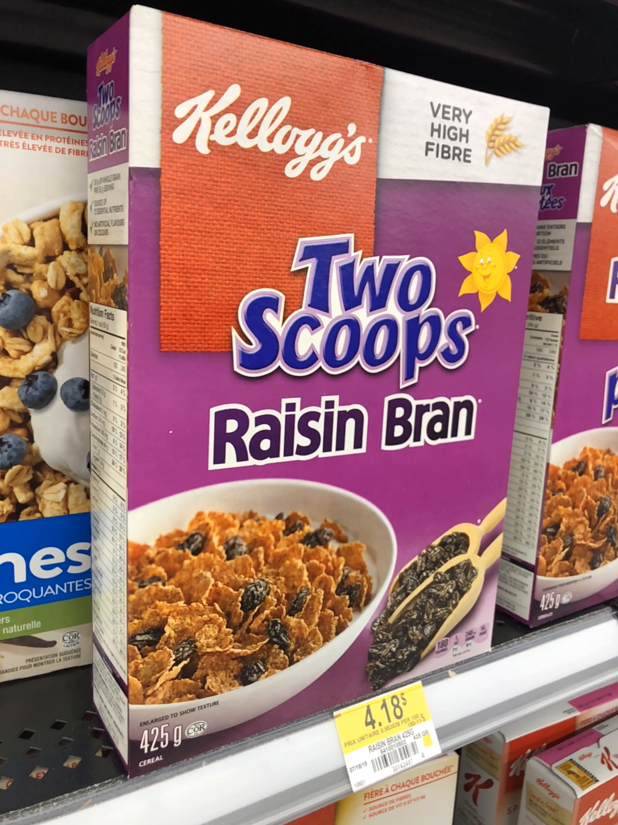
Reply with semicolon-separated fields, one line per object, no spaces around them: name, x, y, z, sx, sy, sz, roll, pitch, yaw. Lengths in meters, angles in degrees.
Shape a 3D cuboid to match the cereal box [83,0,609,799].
cereal box;0.015;-0.004;0.286;0.200;0.269;0.050;-3;13;-27
